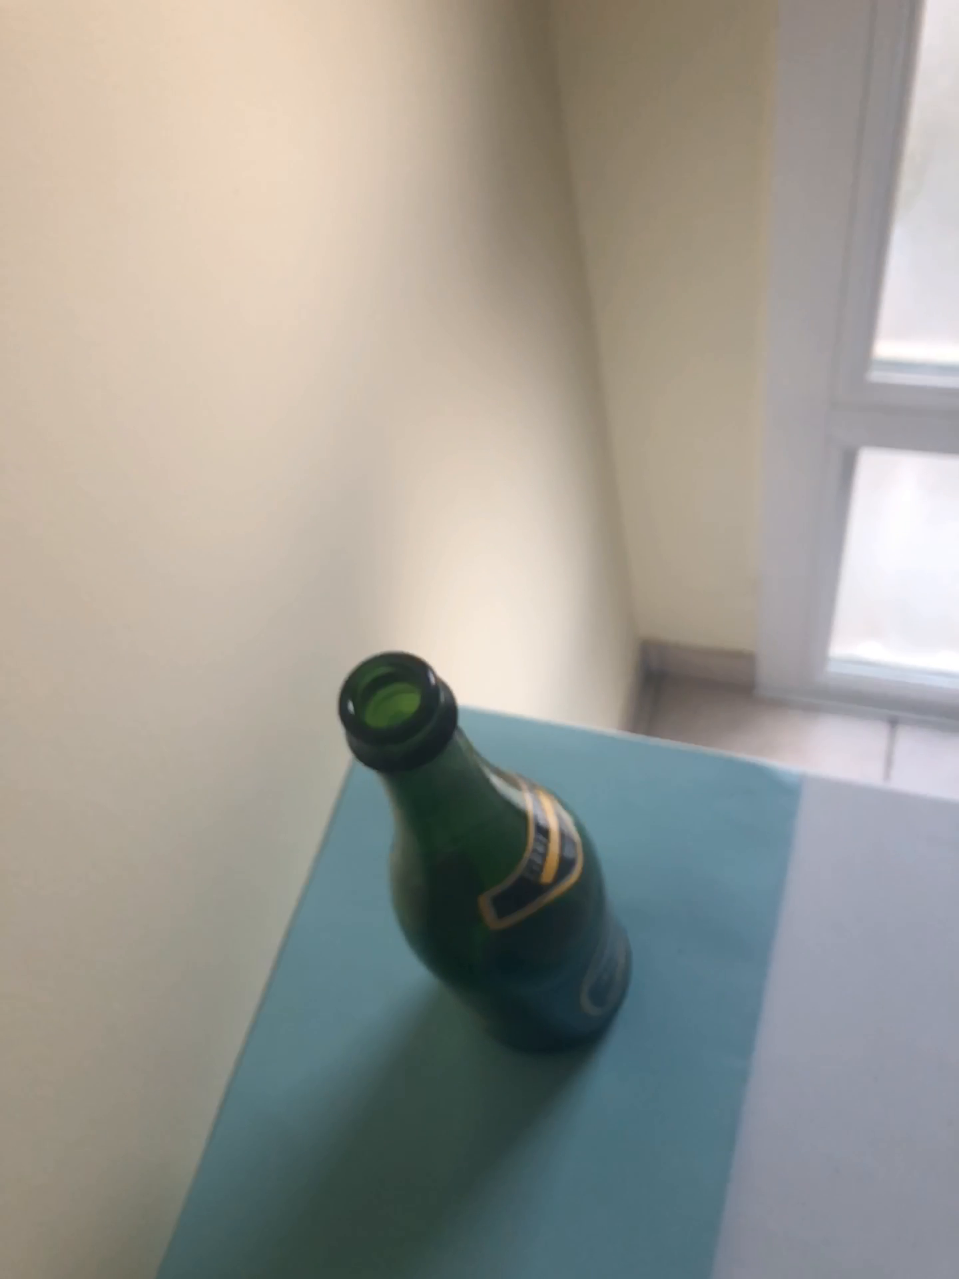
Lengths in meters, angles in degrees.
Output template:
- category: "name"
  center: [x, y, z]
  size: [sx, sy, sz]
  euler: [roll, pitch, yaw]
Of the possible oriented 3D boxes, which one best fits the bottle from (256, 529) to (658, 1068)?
- category: "bottle"
  center: [0.013, 0.083, 0.390]
  size: [0.080, 0.279, 0.090]
  euler: [-6, 58, 10]
